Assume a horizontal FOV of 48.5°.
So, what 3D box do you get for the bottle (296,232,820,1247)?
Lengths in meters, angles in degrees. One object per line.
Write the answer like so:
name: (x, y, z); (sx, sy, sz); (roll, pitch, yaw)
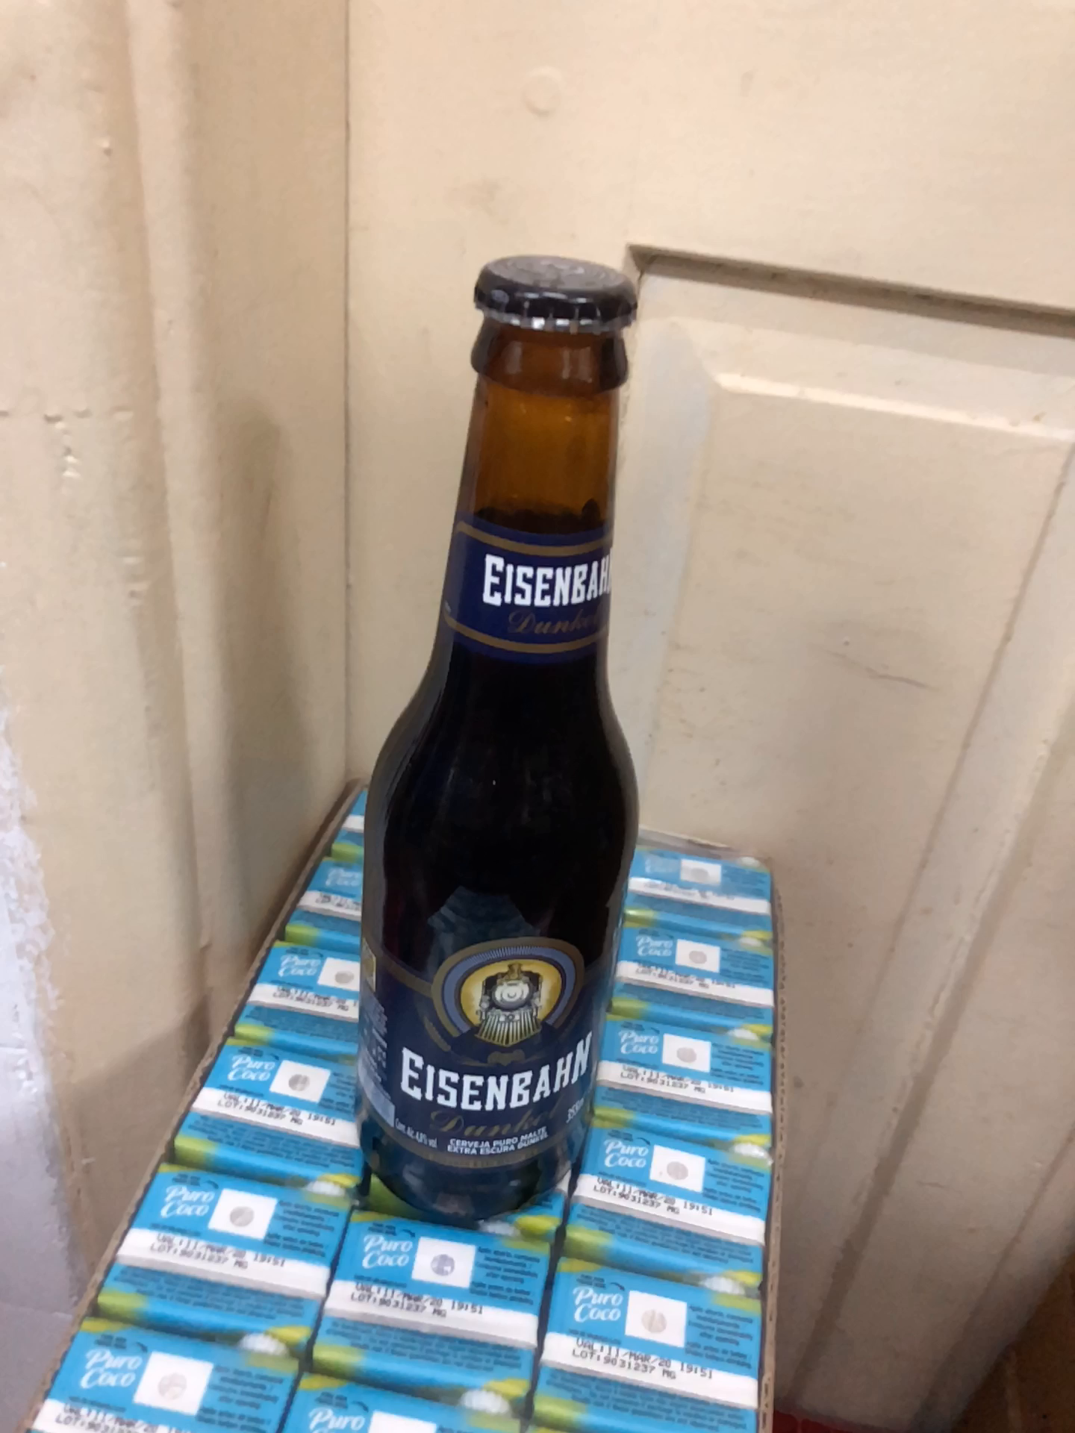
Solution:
bottle: (-0.010, 0.018, 0.236); (0.070, 0.198, 0.060); (-1, 35, -10)
